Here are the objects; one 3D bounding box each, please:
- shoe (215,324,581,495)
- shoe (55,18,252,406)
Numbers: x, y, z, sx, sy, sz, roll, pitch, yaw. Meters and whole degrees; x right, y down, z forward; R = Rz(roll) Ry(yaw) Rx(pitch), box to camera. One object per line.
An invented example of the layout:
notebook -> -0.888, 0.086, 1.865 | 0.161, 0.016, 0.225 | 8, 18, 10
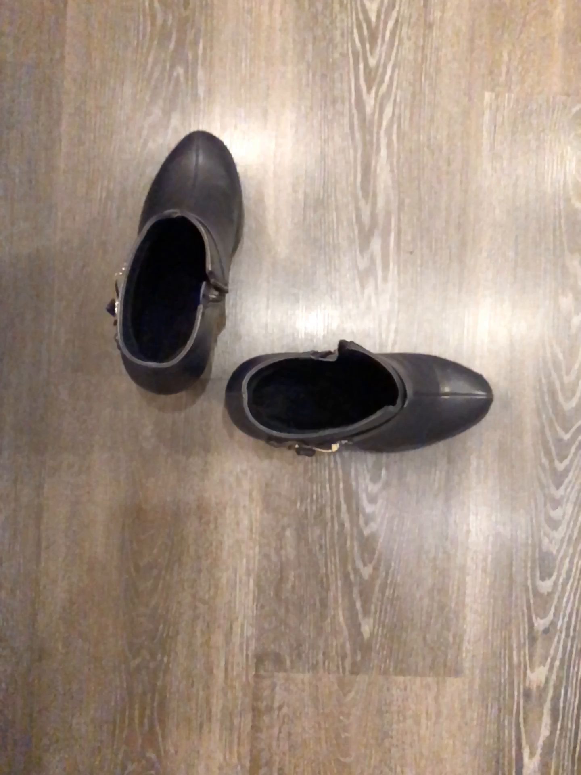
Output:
shoe -> 0.069, 0.015, 0.496 | 0.230, 0.200, 0.090 | 4, 89, -1
shoe -> -0.089, -0.107, 0.485 | 0.090, 0.180, 0.230 | 6, 89, -1
